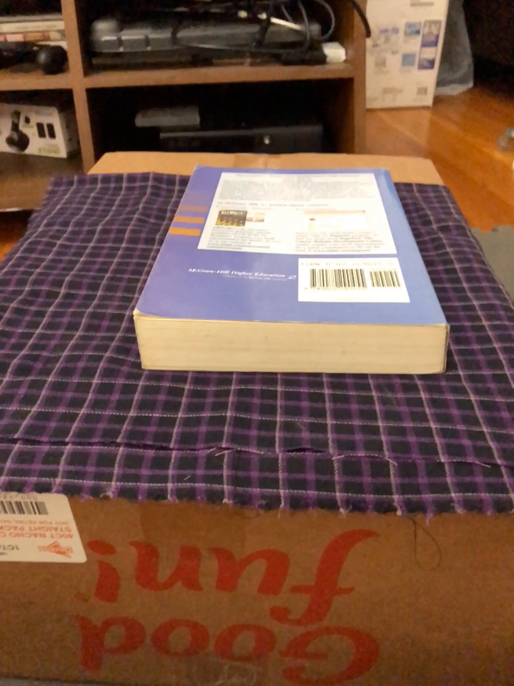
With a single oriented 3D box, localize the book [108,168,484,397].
[{"bbox_3d":[0.022,-0.058,0.384,0.180,0.040,0.242,0,35,2],"label":"book"}]
